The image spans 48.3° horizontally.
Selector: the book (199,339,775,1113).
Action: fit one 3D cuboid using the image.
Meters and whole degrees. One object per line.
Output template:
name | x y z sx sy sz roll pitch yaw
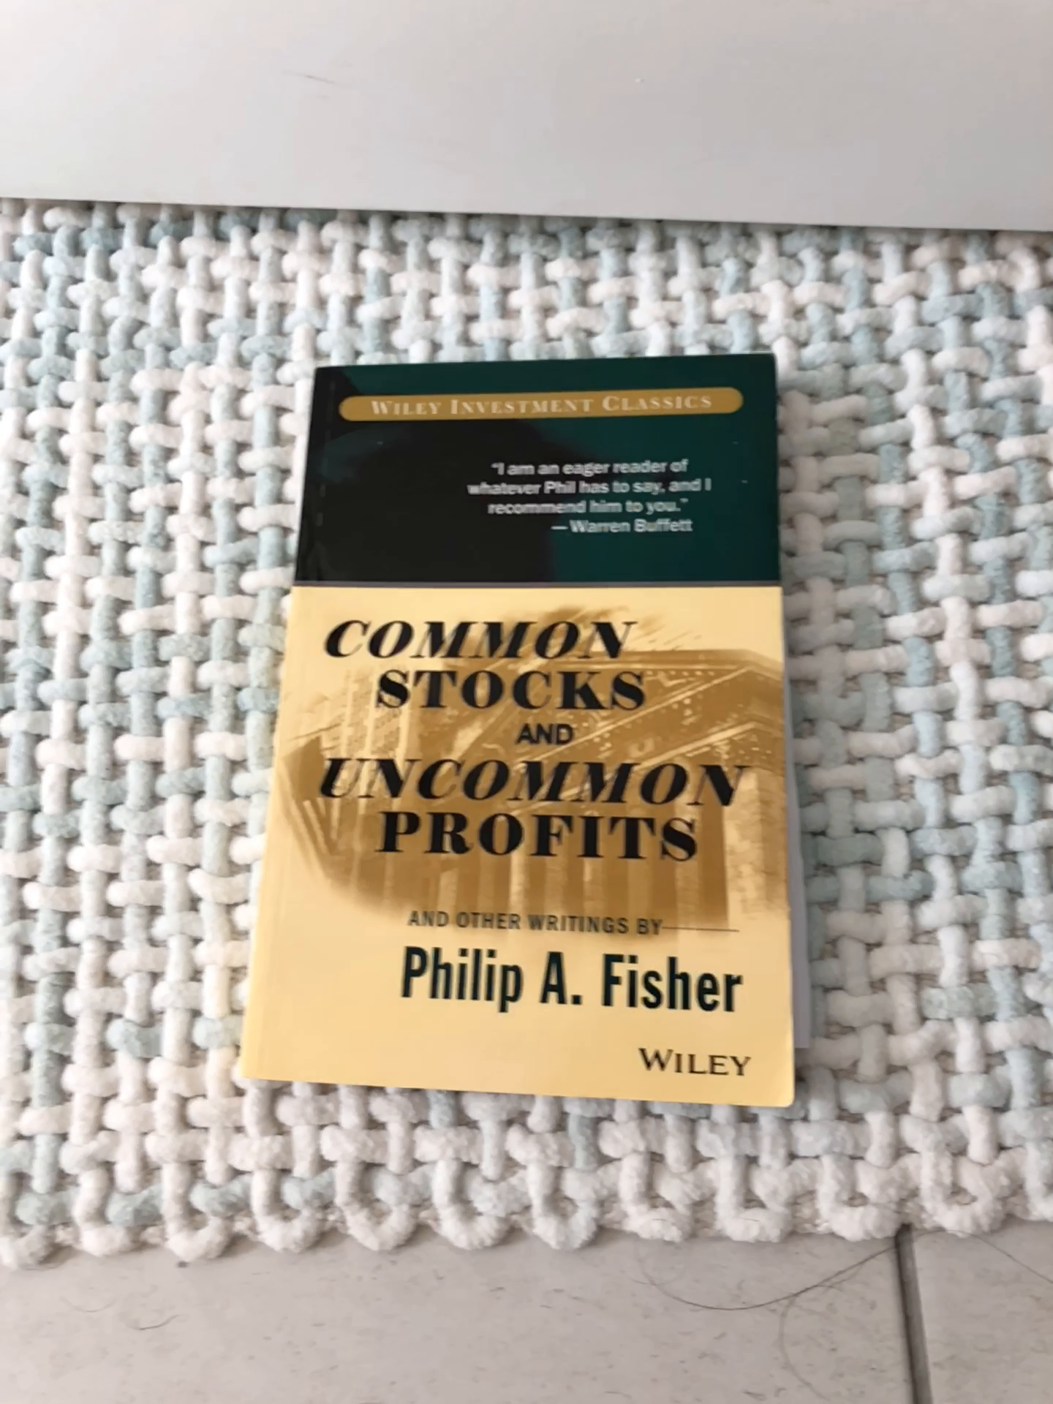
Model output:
book | -0.007 -0.001 0.383 0.166 0.027 0.247 1 73 7
